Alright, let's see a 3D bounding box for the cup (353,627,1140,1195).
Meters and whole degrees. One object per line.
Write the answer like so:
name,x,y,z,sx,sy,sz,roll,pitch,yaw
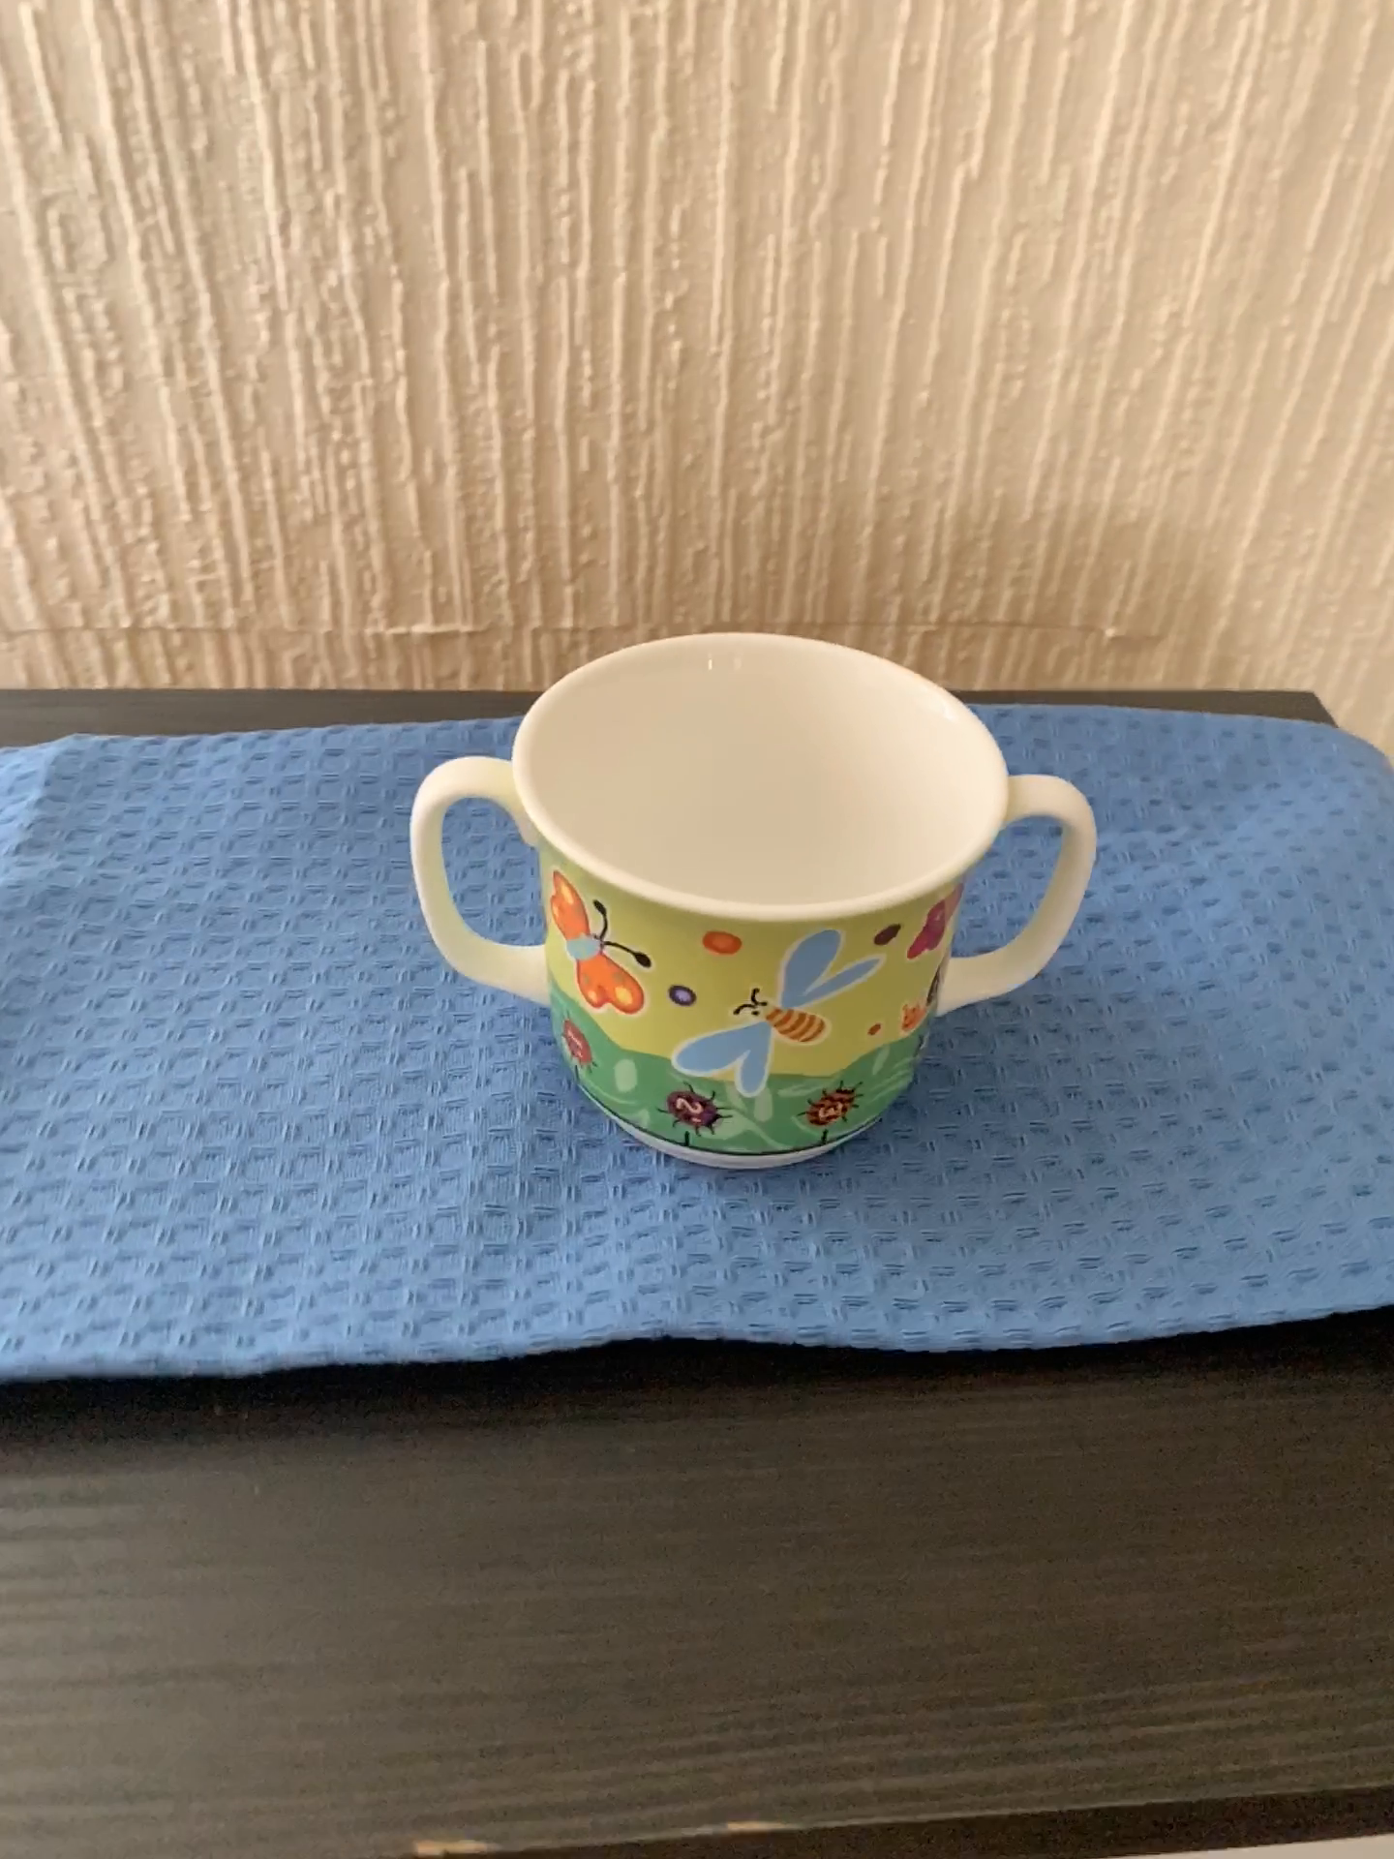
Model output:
cup,0.005,-0.005,0.271,0.120,0.069,0.081,0,41,-4
